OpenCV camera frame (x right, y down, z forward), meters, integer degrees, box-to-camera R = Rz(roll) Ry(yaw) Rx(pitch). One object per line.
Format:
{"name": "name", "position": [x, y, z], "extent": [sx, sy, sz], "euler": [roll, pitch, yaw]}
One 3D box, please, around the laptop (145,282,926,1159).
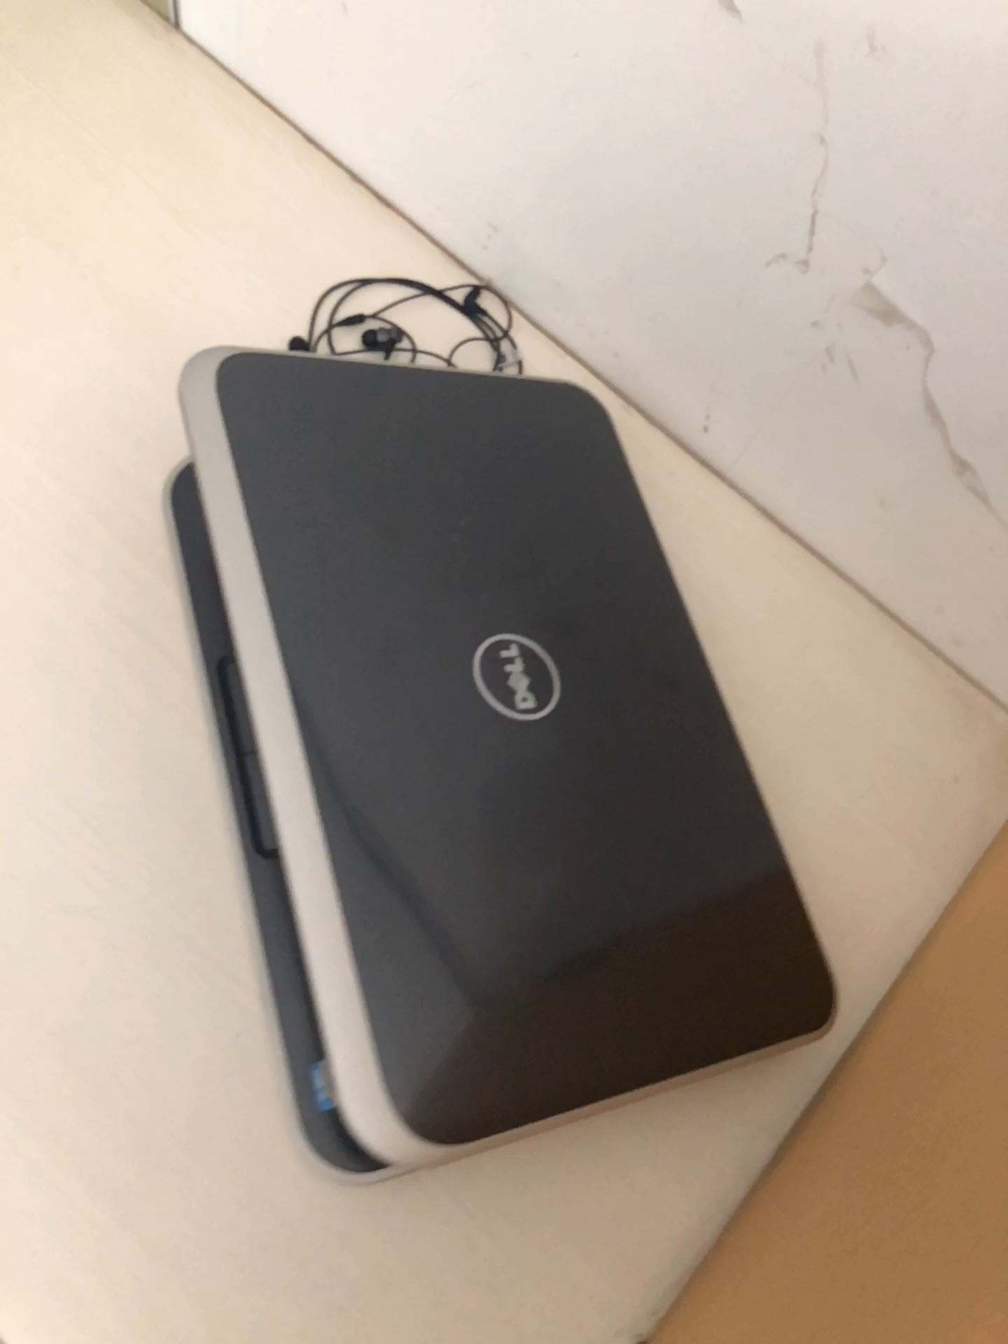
{"name": "laptop", "position": [-0.005, -0.001, 0.510], "extent": [0.238, 0.094, 0.358], "euler": [-10, 67, -17]}
